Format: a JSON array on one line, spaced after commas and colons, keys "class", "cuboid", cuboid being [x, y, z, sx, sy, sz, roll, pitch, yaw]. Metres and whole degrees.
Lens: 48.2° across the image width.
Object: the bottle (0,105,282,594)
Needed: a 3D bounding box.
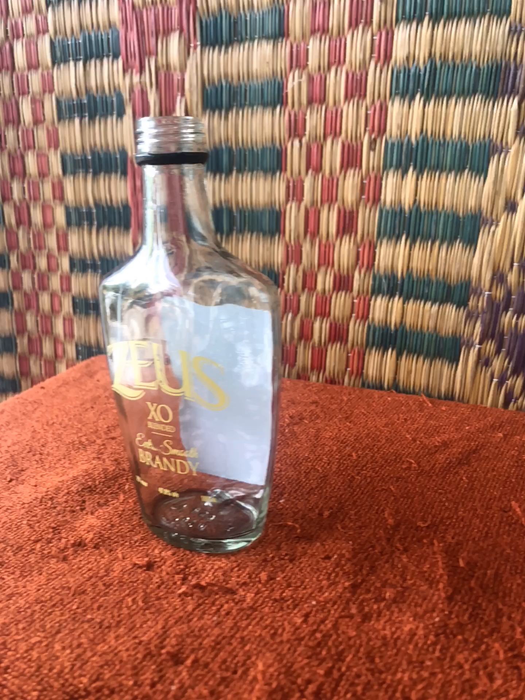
[{"class": "bottle", "cuboid": [-0.040, -0.002, 0.204, 0.080, 0.149, 0.040, 11, 24, 31]}]
